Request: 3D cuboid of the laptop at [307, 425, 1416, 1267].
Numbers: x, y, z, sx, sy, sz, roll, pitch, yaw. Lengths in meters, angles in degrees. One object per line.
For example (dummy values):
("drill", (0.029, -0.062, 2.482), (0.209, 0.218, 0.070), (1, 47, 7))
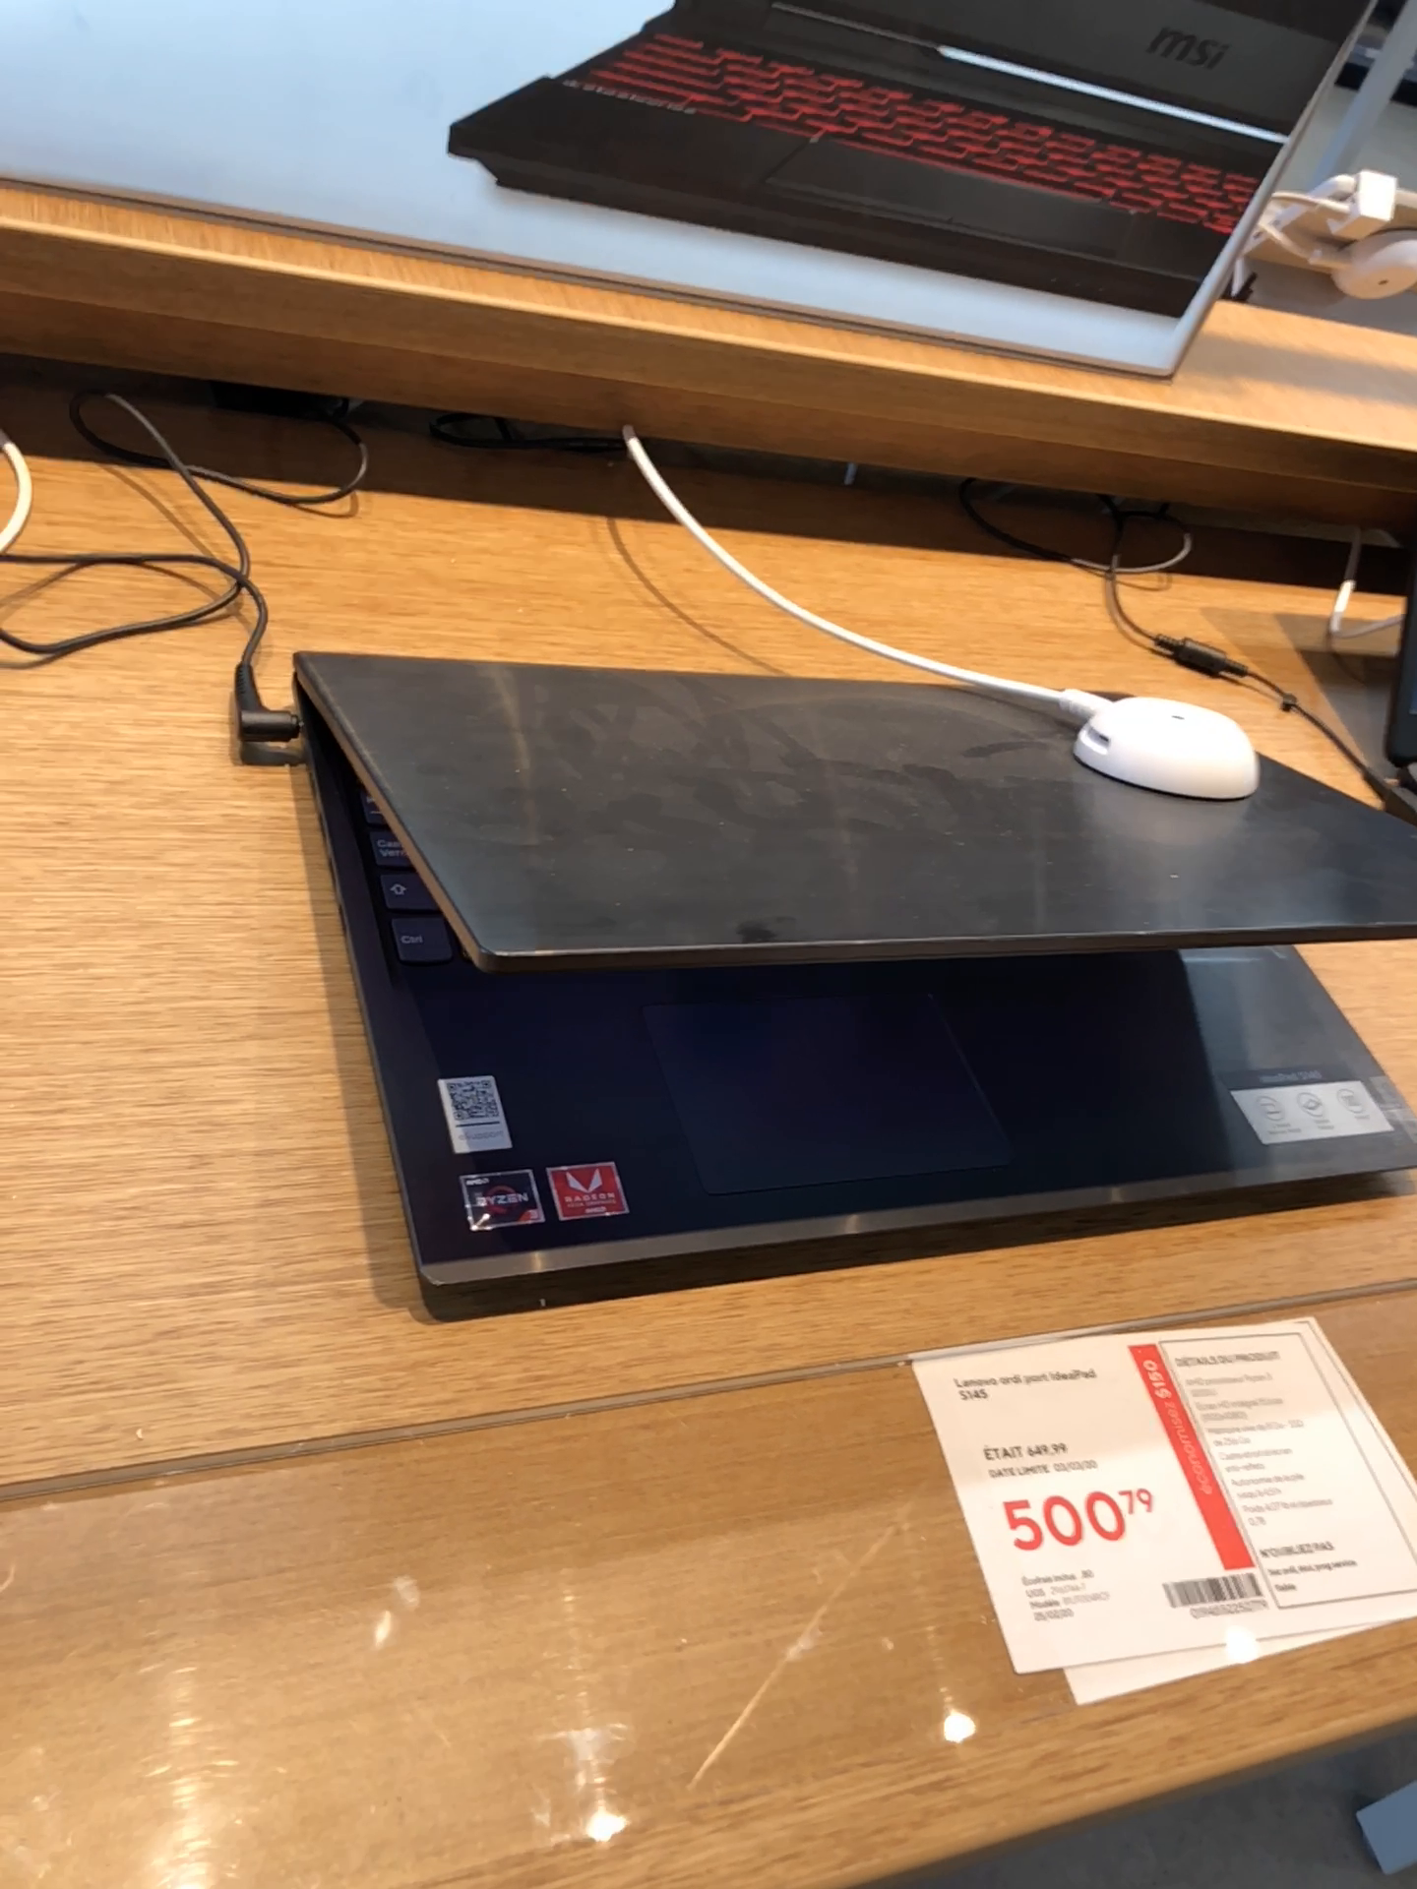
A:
("laptop", (0.060, -0.042, 0.490), (0.331, 0.083, 0.224), (-2, 50, -28))
